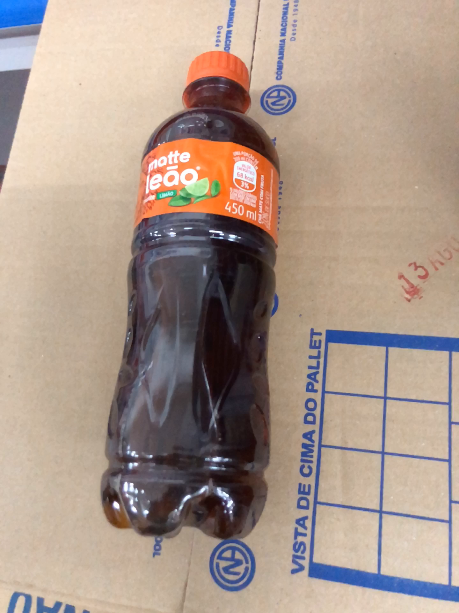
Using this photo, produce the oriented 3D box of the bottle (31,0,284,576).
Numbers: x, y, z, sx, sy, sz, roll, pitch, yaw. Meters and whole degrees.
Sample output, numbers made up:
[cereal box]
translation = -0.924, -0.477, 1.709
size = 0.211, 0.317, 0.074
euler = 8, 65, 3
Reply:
[bottle]
translation = -0.016, -0.021, 0.210
size = 0.070, 0.060, 0.220
euler = 0, 73, 11
